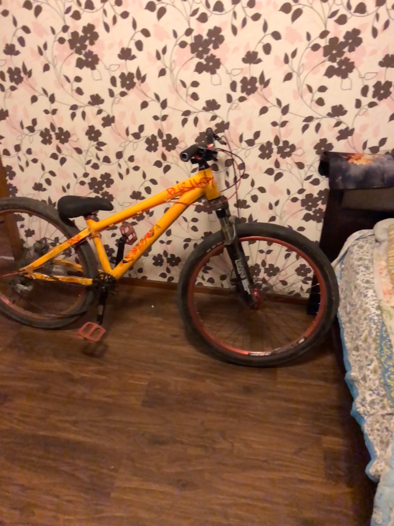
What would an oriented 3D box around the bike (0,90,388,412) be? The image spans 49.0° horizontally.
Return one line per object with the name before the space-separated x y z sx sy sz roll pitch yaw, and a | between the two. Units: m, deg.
bike | -0.283 -0.110 1.810 1.676 1.005 0.664 5 32 12
